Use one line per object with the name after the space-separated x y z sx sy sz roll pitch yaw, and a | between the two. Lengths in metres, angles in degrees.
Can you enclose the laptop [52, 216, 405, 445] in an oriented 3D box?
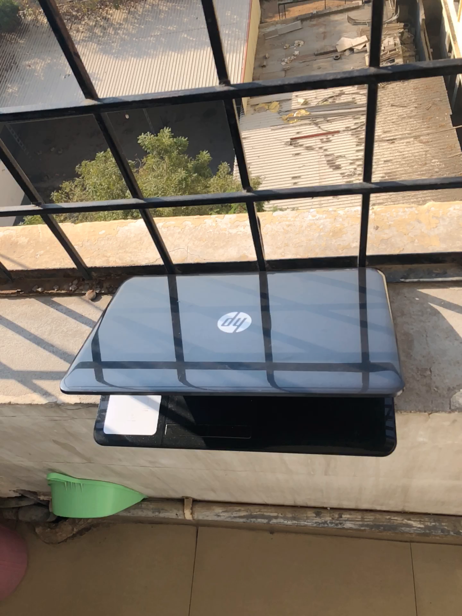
0.004 0.026 0.622 0.363 0.113 0.245 -2 57 11 | laptop
